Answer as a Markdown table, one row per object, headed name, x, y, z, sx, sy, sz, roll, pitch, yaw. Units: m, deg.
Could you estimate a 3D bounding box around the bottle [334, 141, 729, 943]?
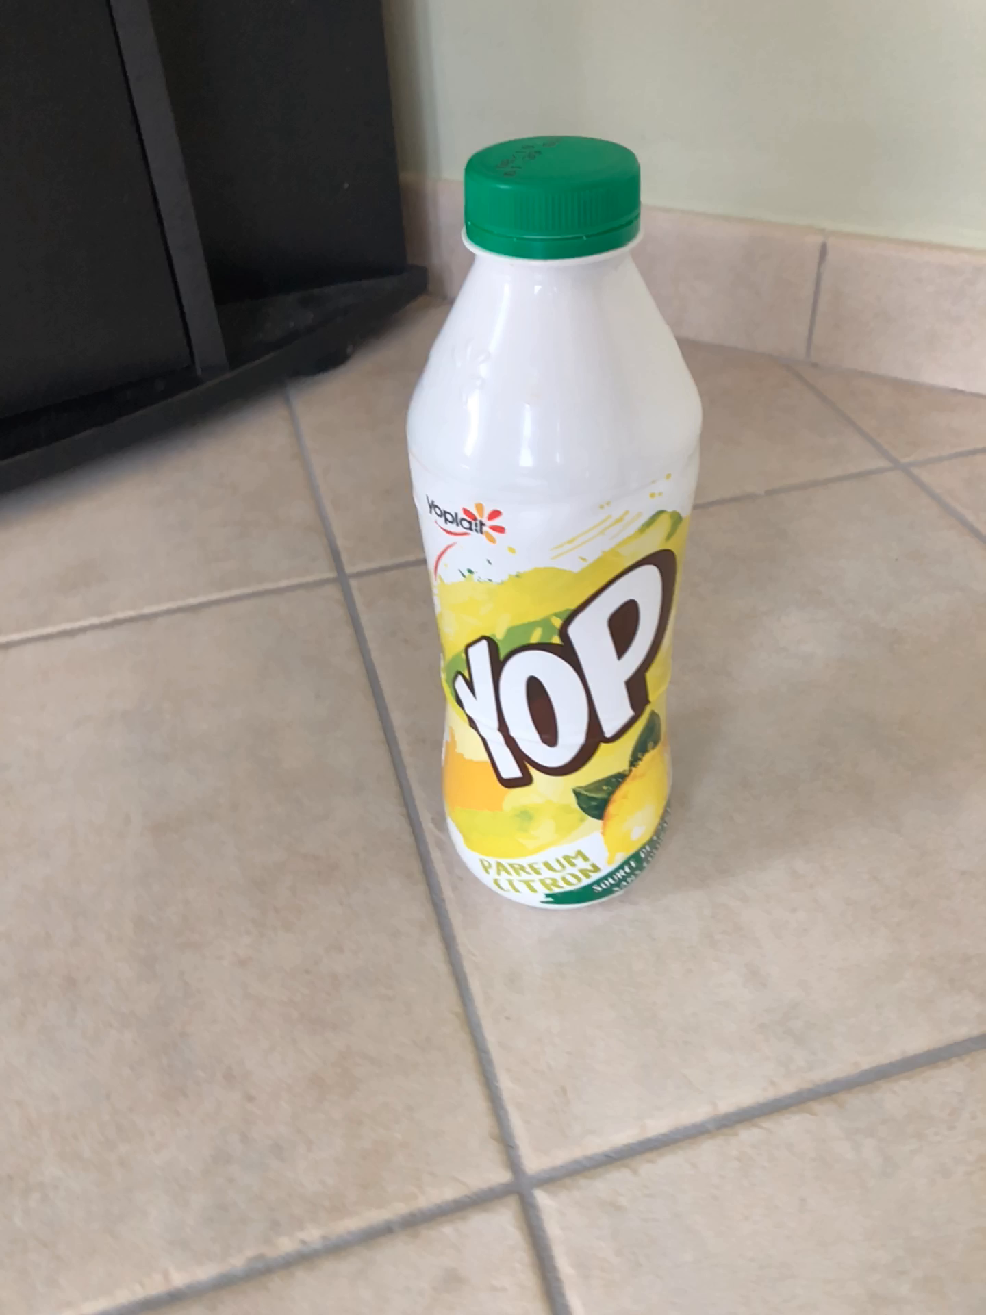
| name | x | y | z | sx | sy | sz | roll | pitch | yaw |
| --- | --- | --- | --- | --- | --- | --- | --- | --- | --- |
| bottle | 0.016 | -0.019 | 0.325 | 0.080 | 0.229 | 0.081 | -2 | 40 | 2 |
